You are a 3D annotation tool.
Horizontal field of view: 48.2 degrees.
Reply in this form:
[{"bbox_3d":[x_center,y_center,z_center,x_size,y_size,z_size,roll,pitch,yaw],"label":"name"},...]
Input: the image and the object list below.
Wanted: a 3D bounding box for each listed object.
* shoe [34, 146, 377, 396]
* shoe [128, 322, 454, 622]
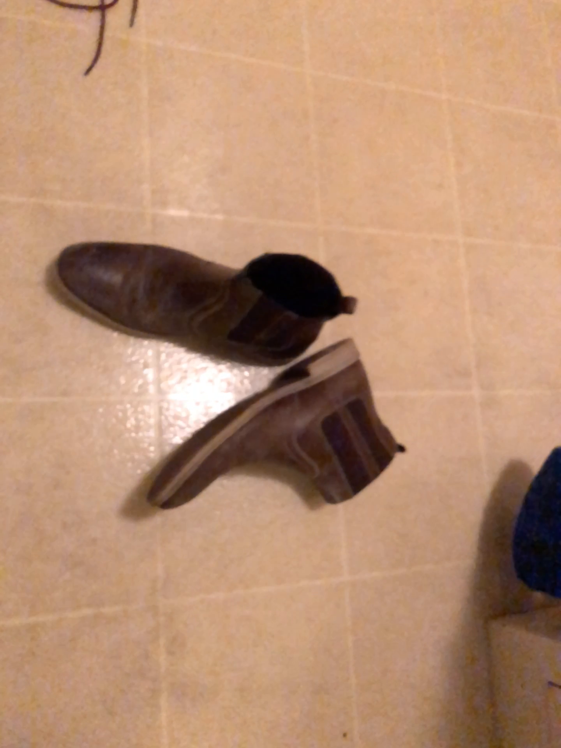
[{"bbox_3d":[-0.083,-0.089,0.669,0.313,0.161,0.111,20,74,-17],"label":"shoe"},{"bbox_3d":[0.016,0.096,0.703,0.314,0.111,0.161,-33,95,-23],"label":"shoe"}]
